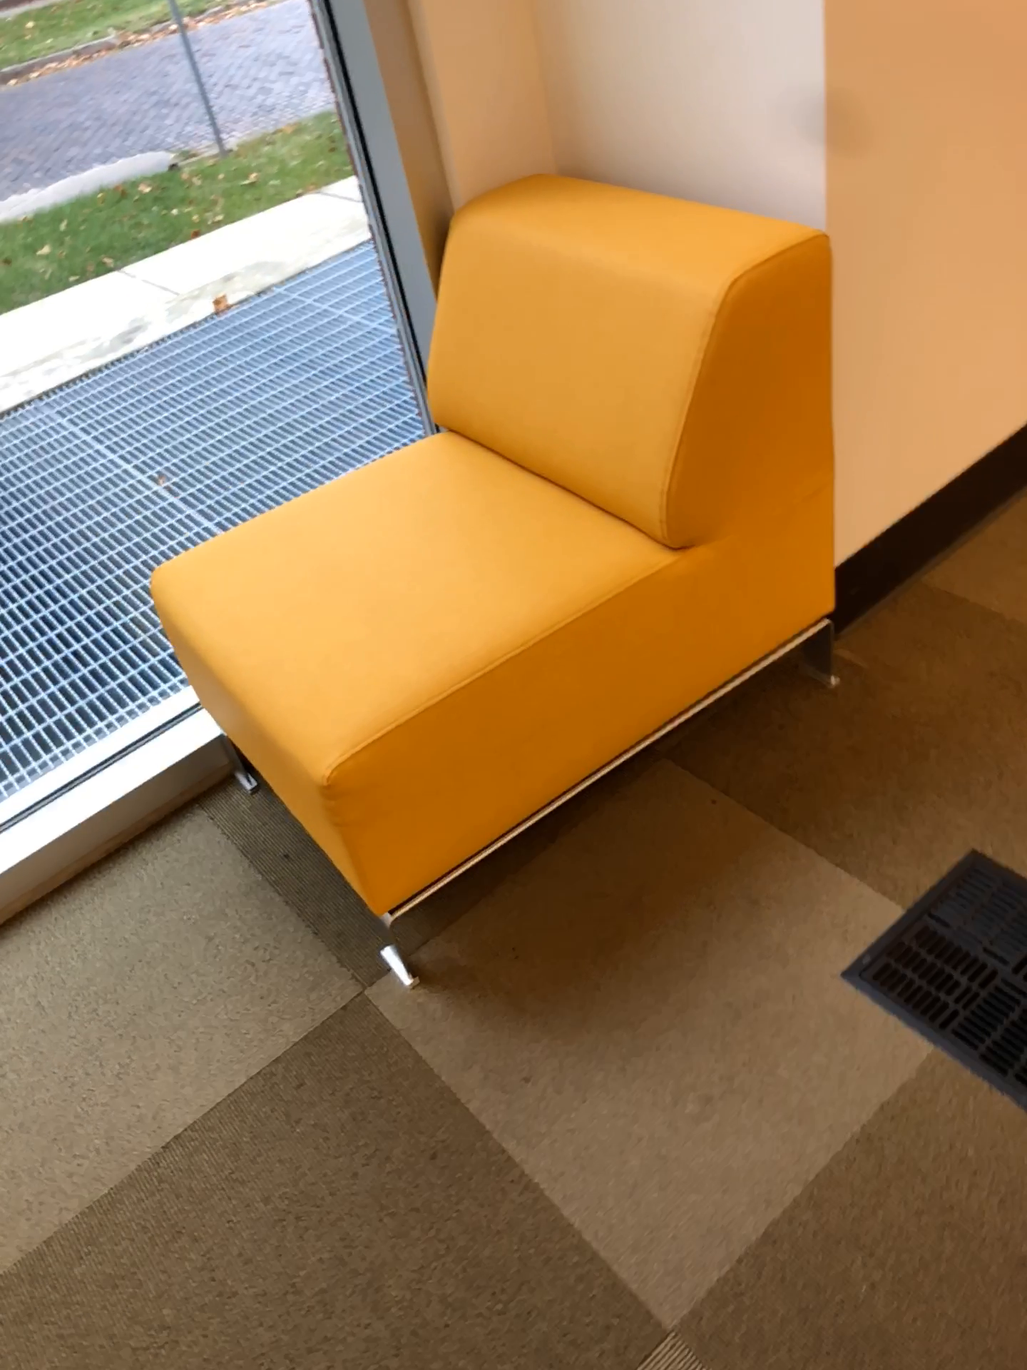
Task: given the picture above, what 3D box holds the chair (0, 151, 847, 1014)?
[{"bbox_3d":[-0.072,-0.206,1.664,0.872,0.759,0.664,-32,42,-21],"label":"chair"}]
